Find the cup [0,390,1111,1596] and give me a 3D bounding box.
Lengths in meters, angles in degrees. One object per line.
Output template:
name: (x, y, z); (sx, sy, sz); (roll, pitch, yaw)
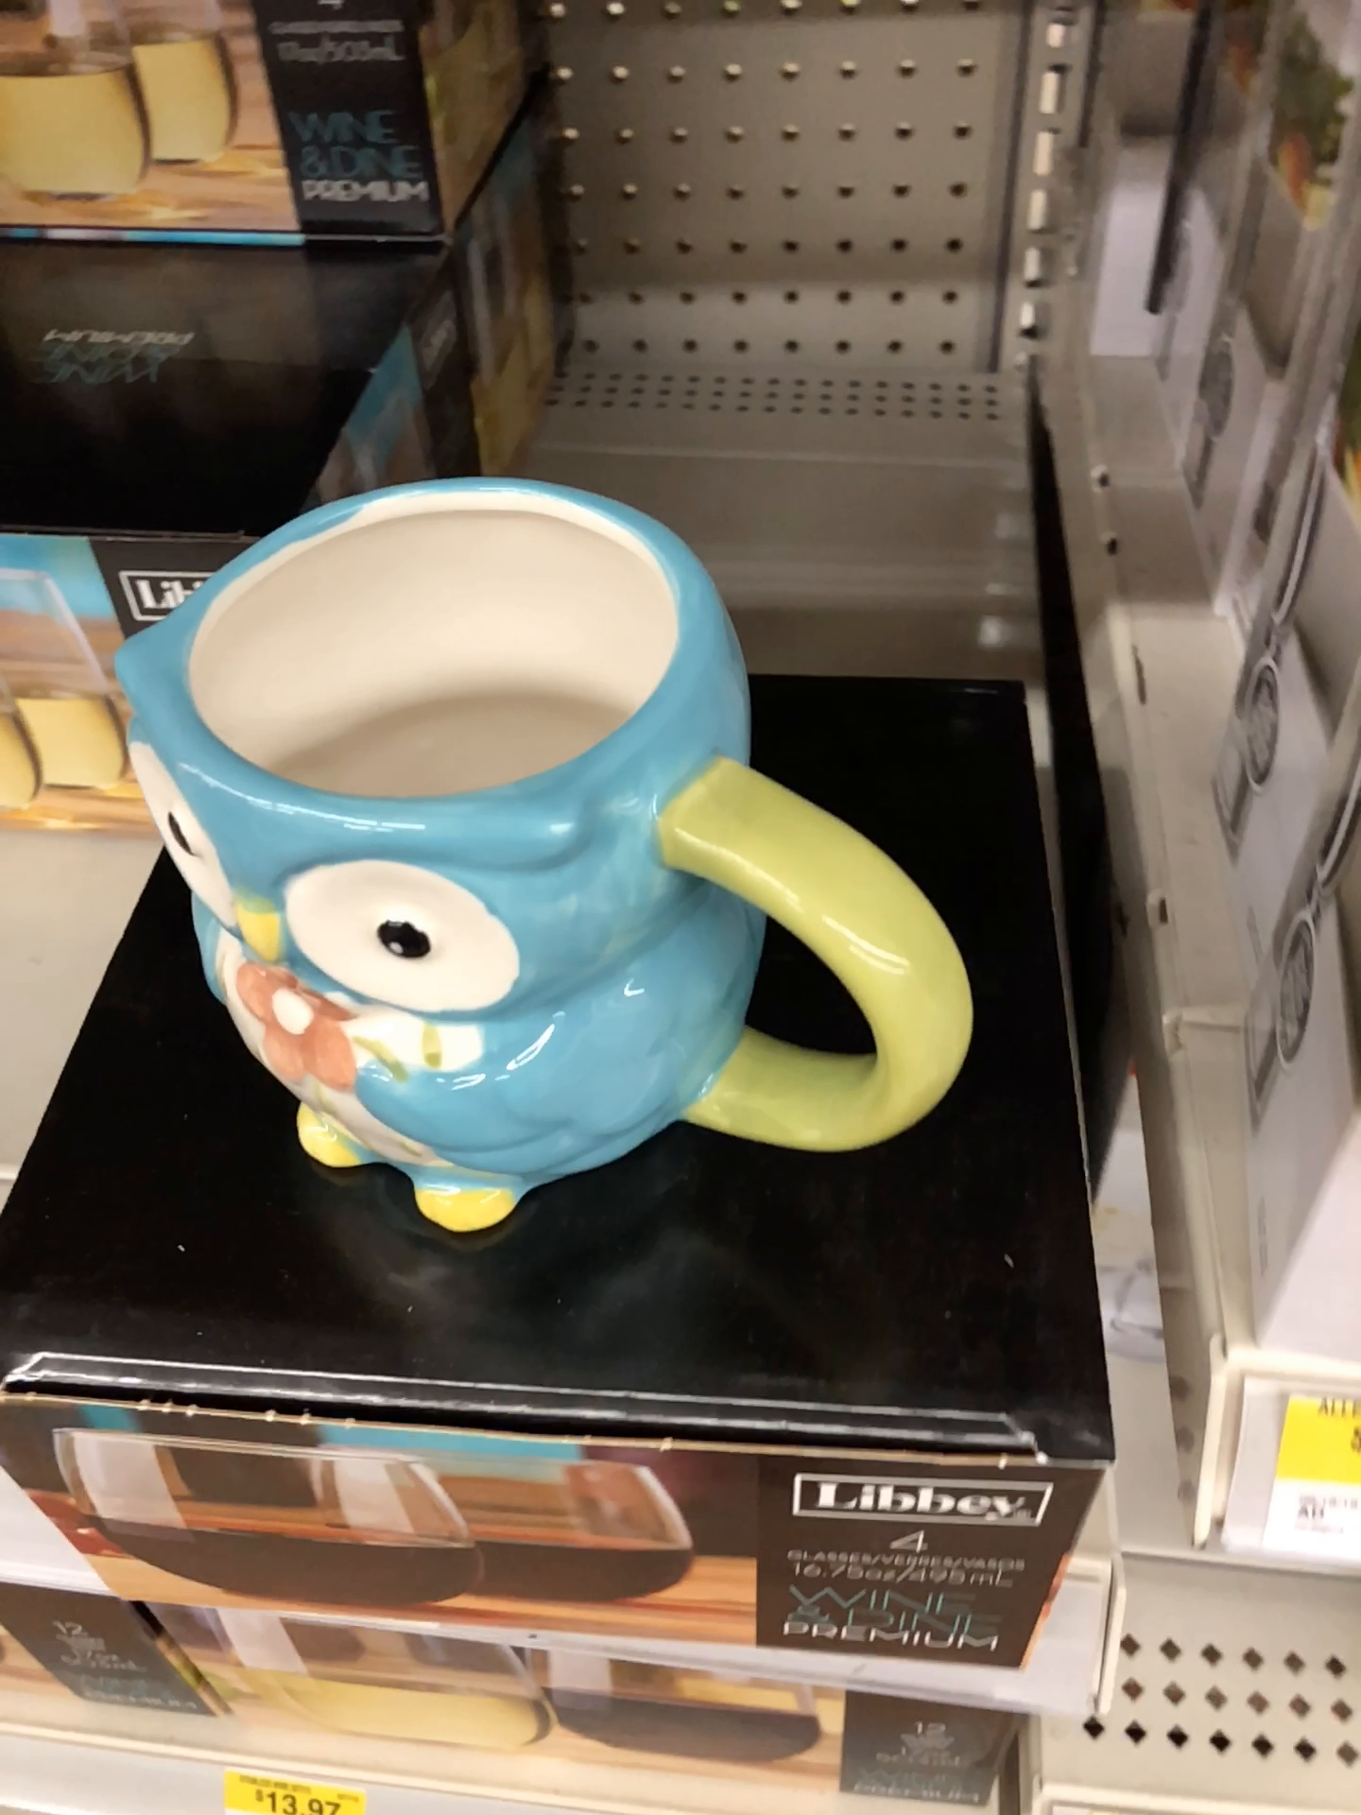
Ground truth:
cup: (-0.025, 0.006, 0.240); (0.140, 0.110, 0.090); (29, 55, 29)
